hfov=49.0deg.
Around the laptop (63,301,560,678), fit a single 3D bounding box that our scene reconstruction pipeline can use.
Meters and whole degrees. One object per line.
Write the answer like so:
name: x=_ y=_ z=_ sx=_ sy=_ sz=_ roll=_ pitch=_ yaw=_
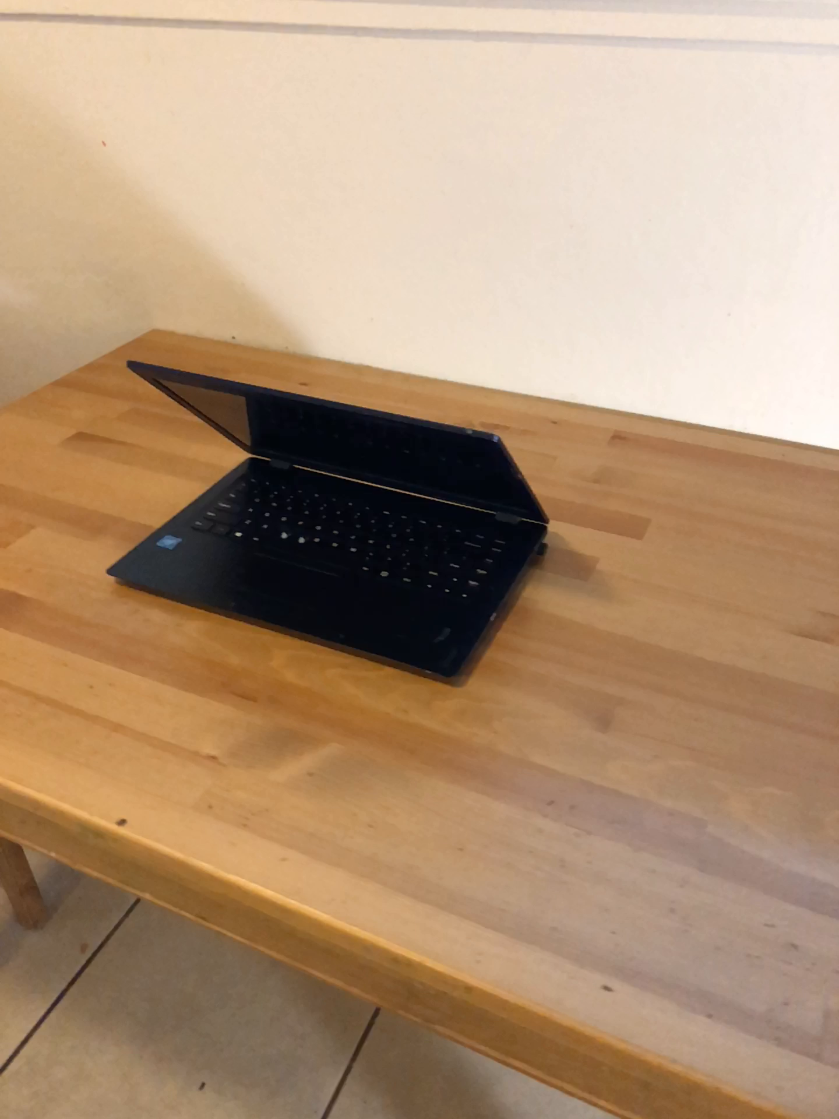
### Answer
laptop: x=-0.076 y=-0.076 z=0.759 sx=0.317 sy=0.161 sz=0.217 roll=15 pitch=38 yaw=20
